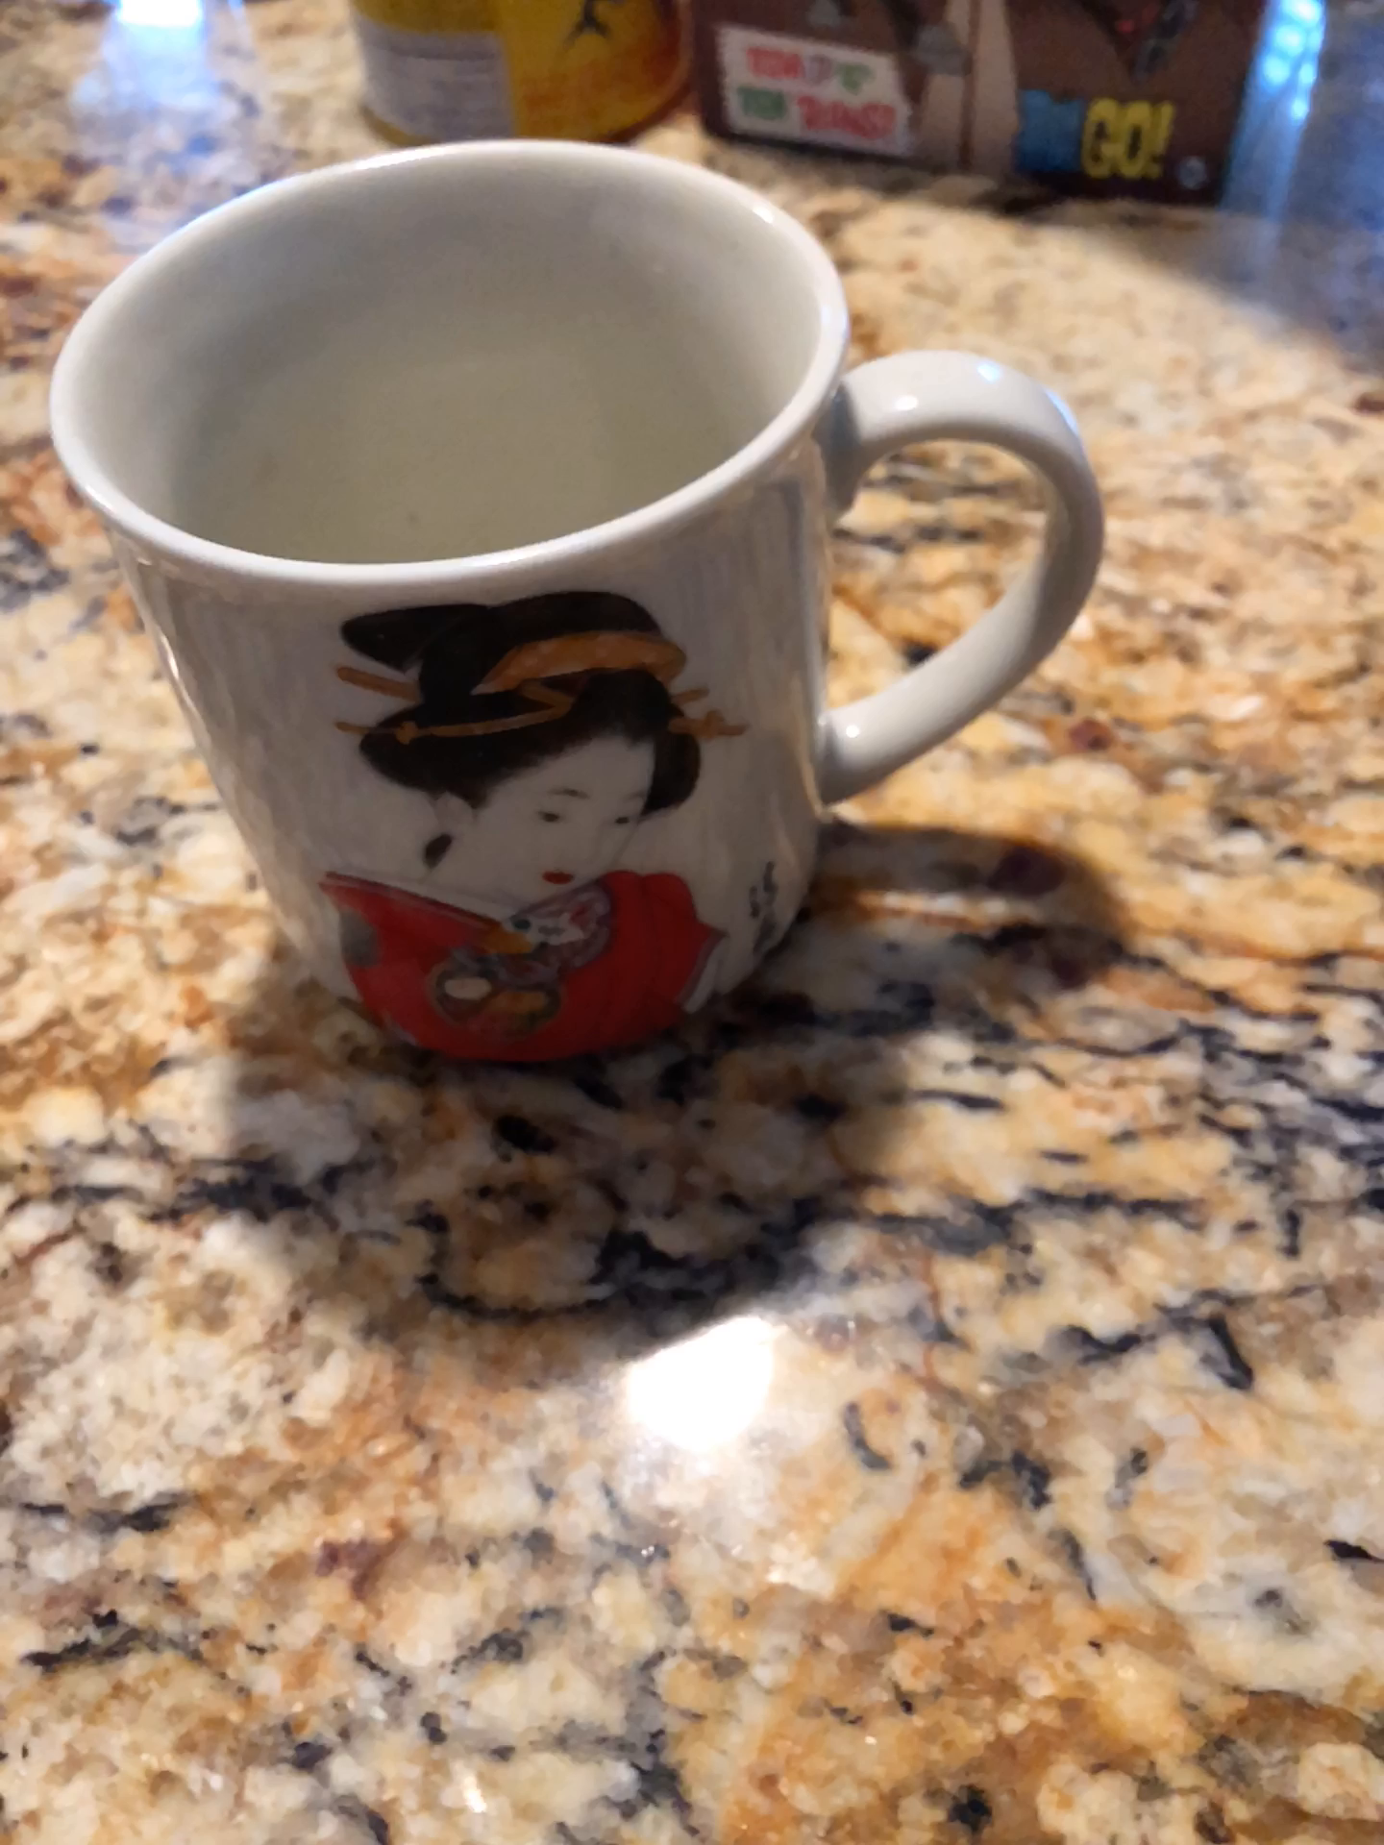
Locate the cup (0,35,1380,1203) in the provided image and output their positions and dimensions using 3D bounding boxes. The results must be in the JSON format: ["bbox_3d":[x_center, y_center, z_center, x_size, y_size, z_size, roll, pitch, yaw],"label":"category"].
[{"bbox_3d":[-0.005,-0.037,0.194,0.120,0.089,0.091,-9,51,-3],"label":"cup"}]
